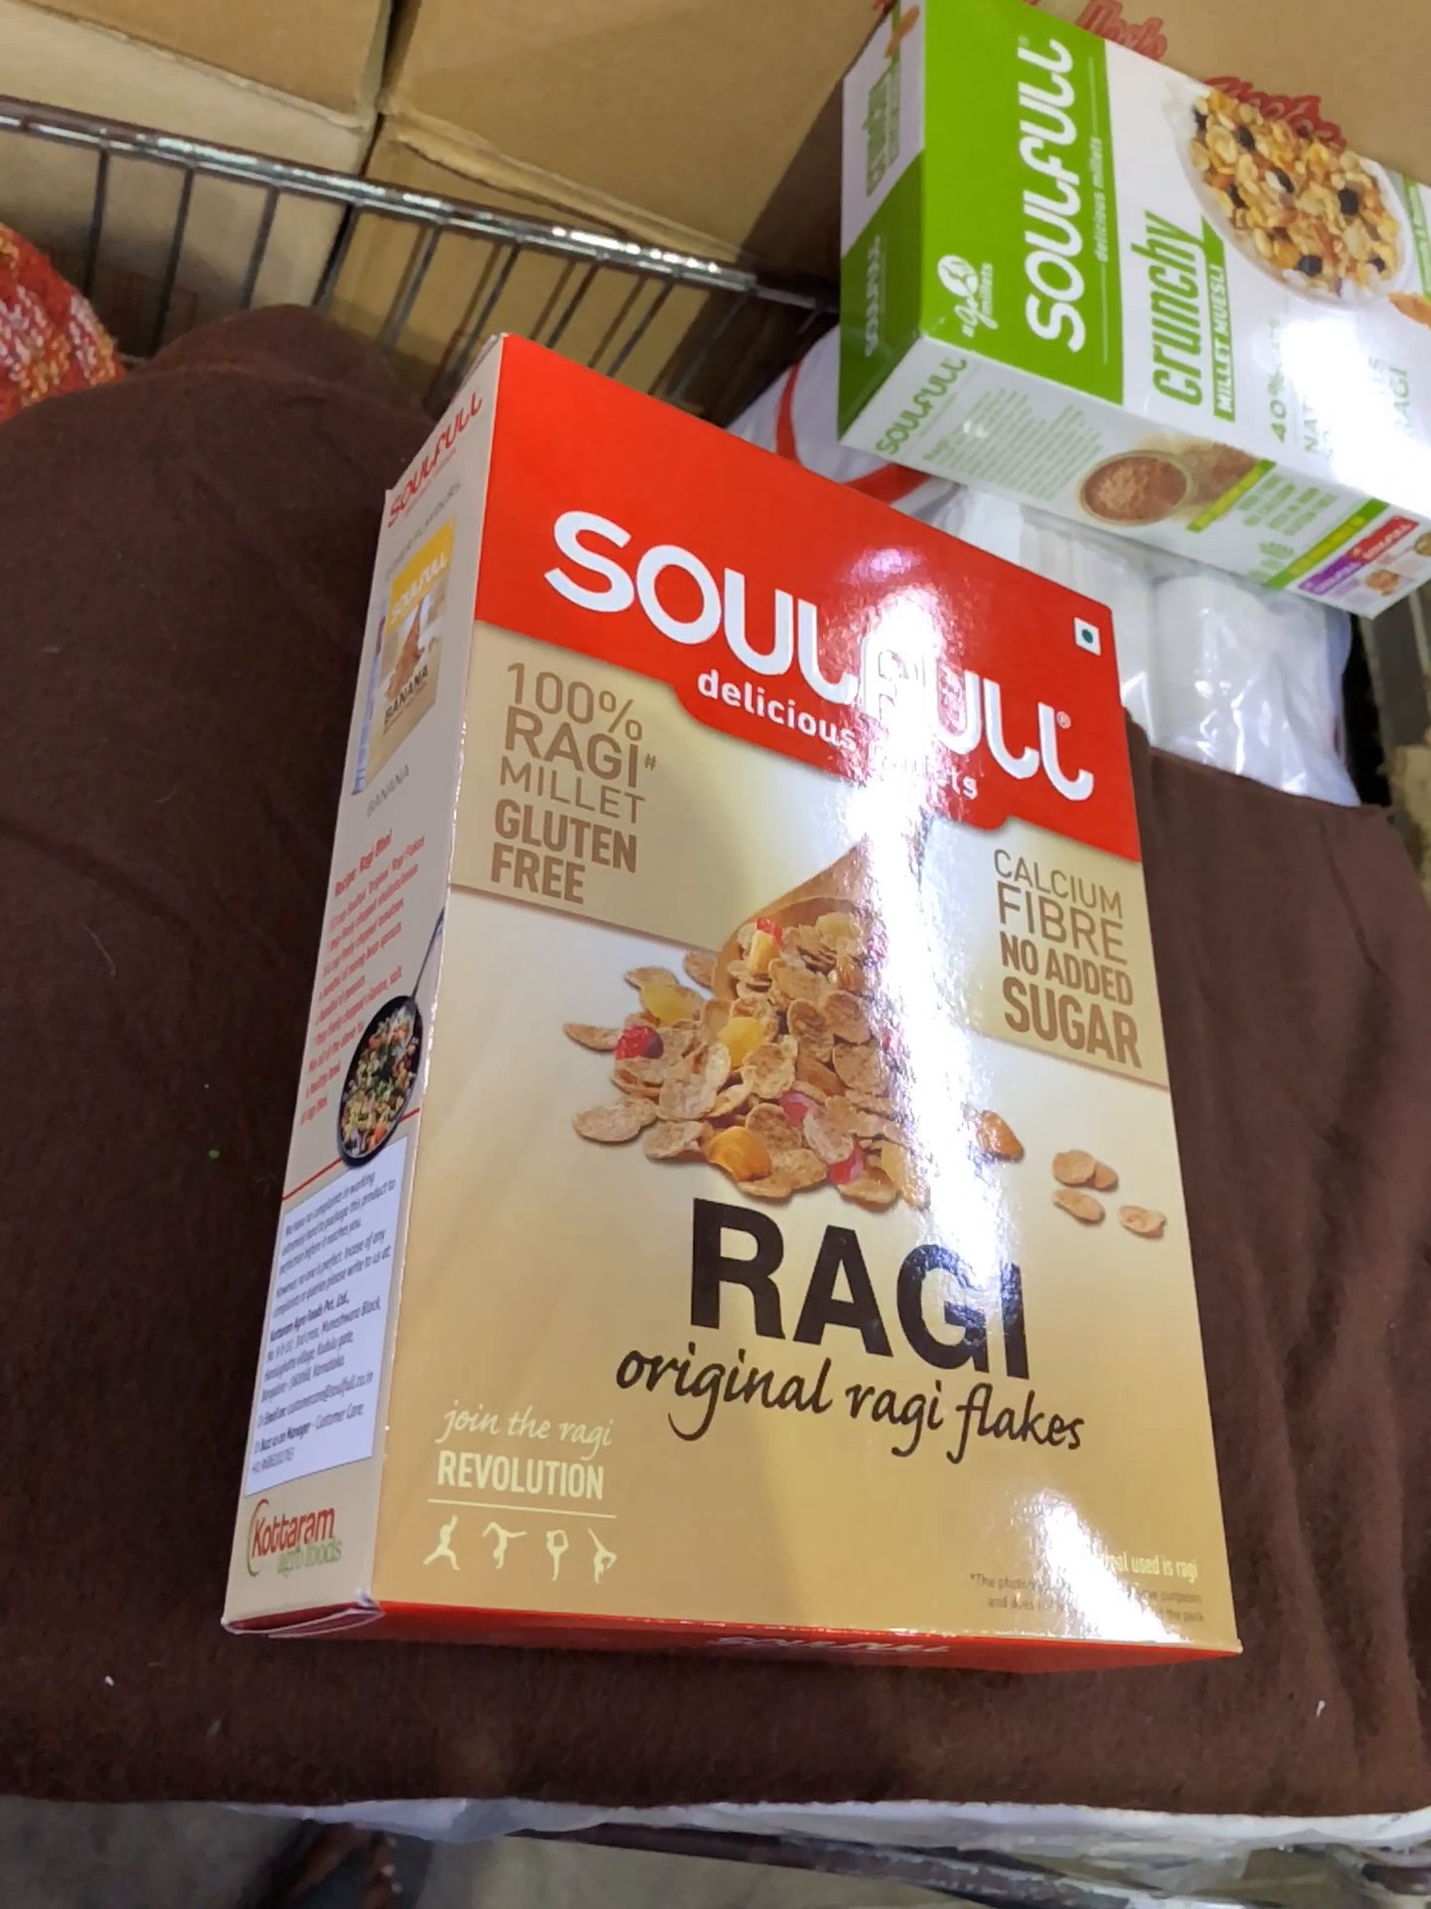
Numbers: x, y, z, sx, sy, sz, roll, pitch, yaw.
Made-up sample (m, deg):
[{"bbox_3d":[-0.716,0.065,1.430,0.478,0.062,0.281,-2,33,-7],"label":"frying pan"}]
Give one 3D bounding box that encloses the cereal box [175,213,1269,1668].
[{"bbox_3d":[0.009,0.001,0.300,0.170,0.050,0.241,15,61,-29],"label":"cereal box"}]
